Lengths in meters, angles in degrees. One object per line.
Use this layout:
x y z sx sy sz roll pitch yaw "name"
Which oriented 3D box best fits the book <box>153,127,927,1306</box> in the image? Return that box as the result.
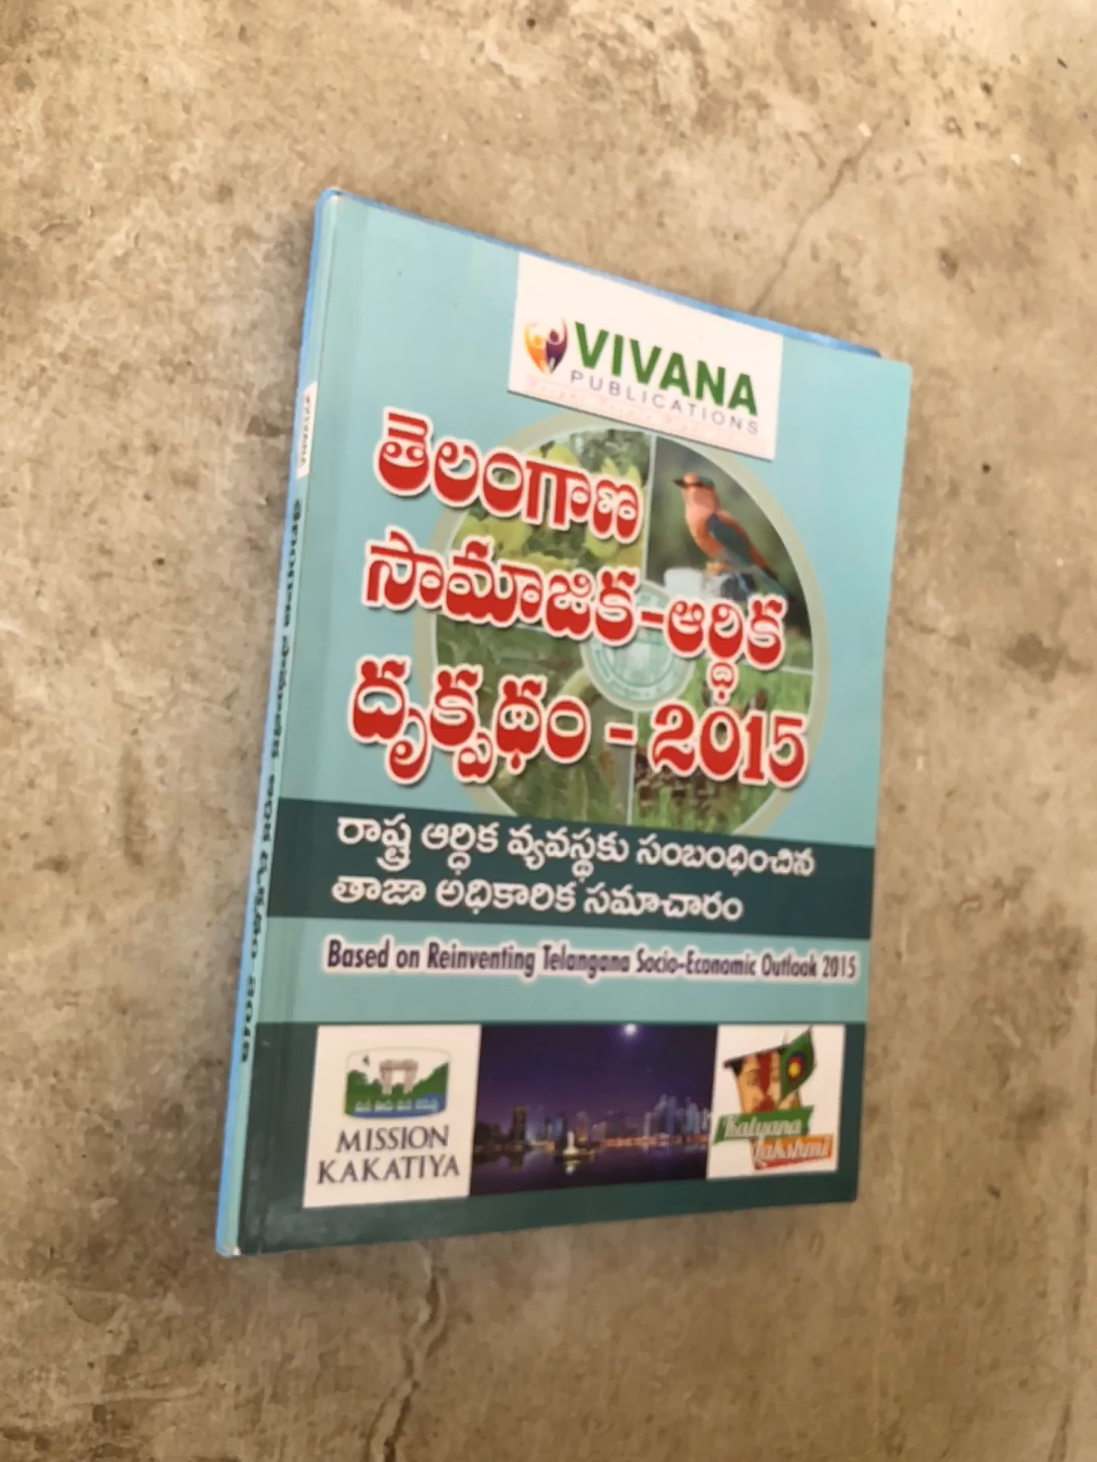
0.012 0.002 0.338 0.200 0.030 0.270 7 84 -27 "book"
